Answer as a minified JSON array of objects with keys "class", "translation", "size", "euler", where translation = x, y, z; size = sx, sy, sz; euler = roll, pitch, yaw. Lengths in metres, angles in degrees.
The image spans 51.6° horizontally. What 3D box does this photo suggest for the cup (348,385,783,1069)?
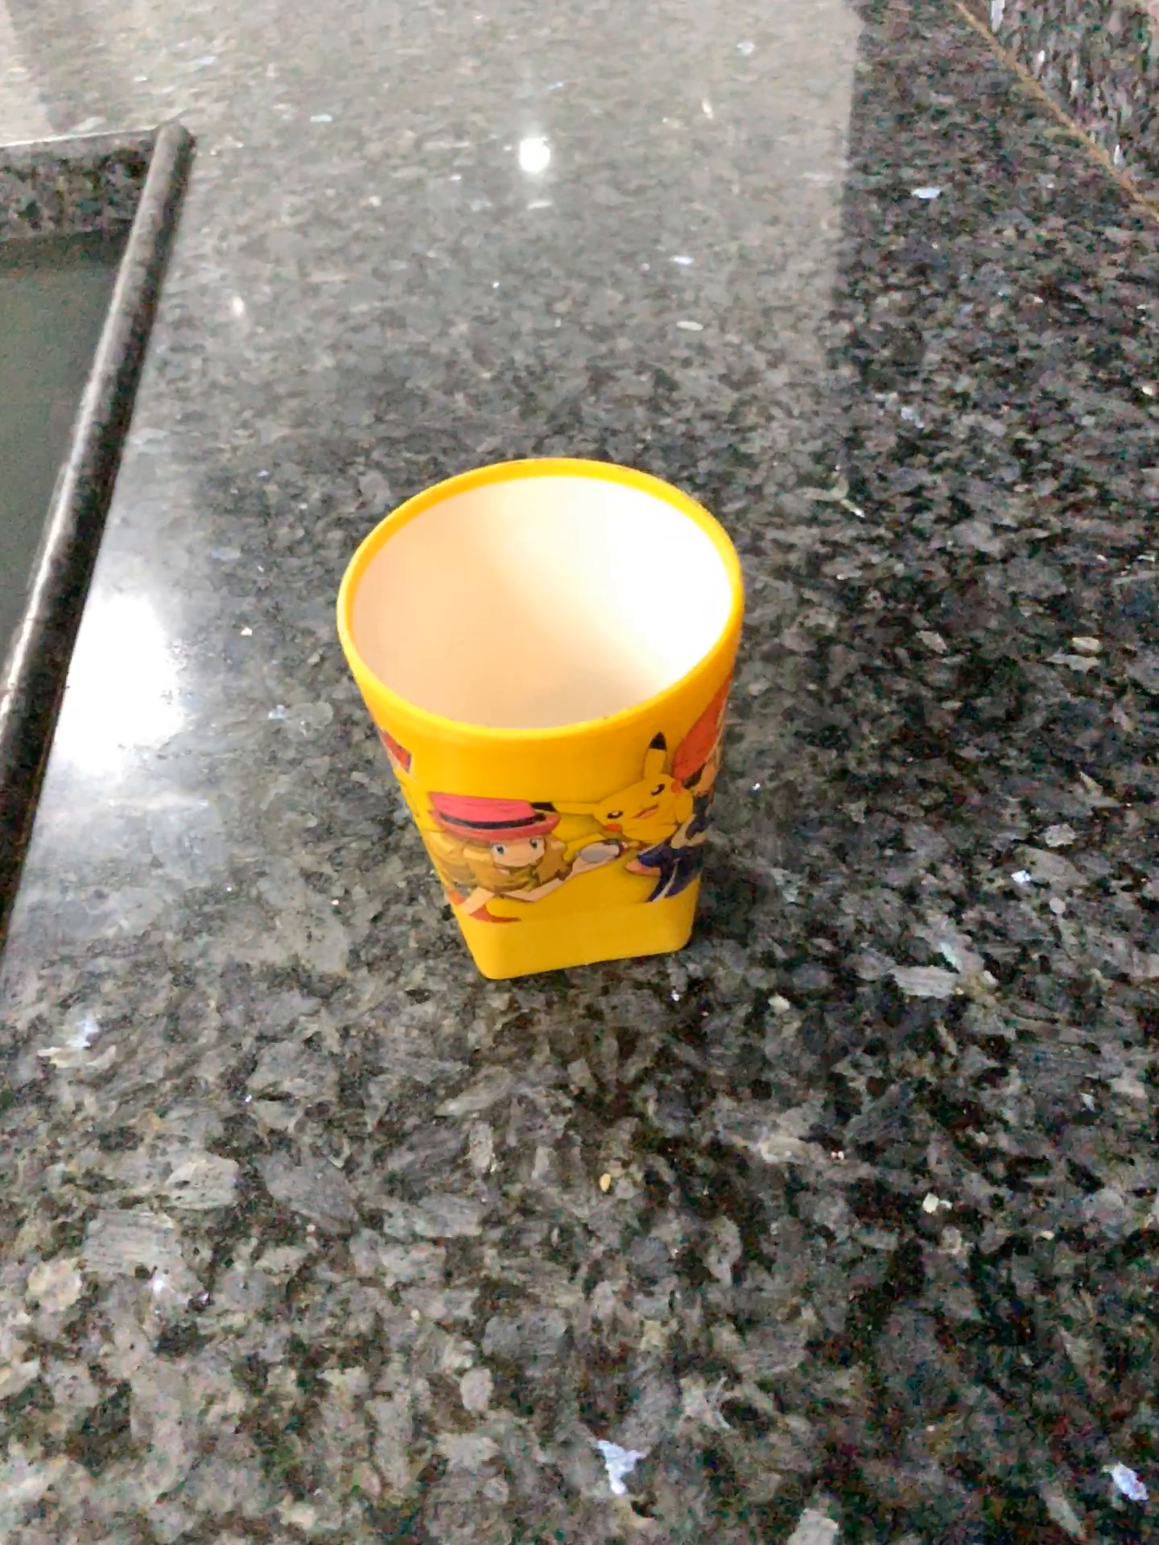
[{"class":"cup","translation":[-0.005,-0.009,0.276],"size":[0.070,0.109,0.101],"euler":[-9,50,-4]}]
